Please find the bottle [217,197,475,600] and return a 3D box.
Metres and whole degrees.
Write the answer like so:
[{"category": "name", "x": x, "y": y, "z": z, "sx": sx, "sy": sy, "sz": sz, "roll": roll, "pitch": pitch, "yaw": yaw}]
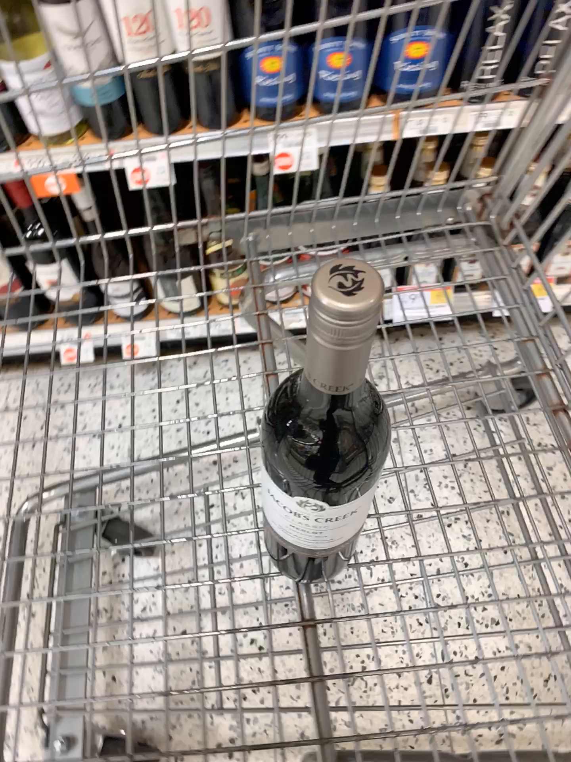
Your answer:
[{"category": "bottle", "x": 0.027, "y": 0.047, "z": 0.364, "sx": 0.090, "sy": 0.317, "sz": 0.091, "roll": 0, "pitch": 58, "yaw": 0}]
